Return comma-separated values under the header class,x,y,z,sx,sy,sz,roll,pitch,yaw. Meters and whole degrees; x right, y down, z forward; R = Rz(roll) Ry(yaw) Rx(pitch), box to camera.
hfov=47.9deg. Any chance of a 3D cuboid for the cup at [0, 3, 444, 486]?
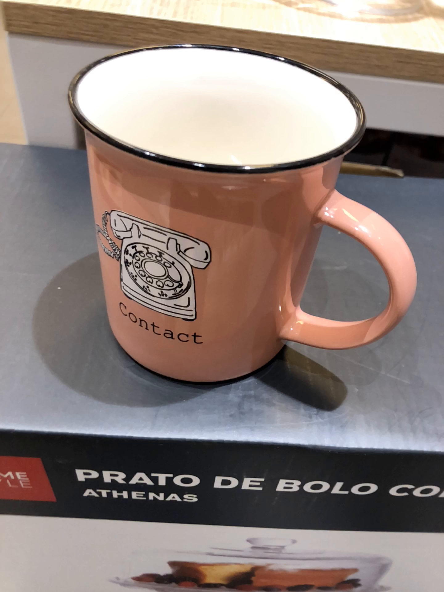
class,x,y,z,sx,sy,sz,roll,pitch,yaw
cup,0.002,-0.020,0.156,0.110,0.089,0.081,23,48,14
